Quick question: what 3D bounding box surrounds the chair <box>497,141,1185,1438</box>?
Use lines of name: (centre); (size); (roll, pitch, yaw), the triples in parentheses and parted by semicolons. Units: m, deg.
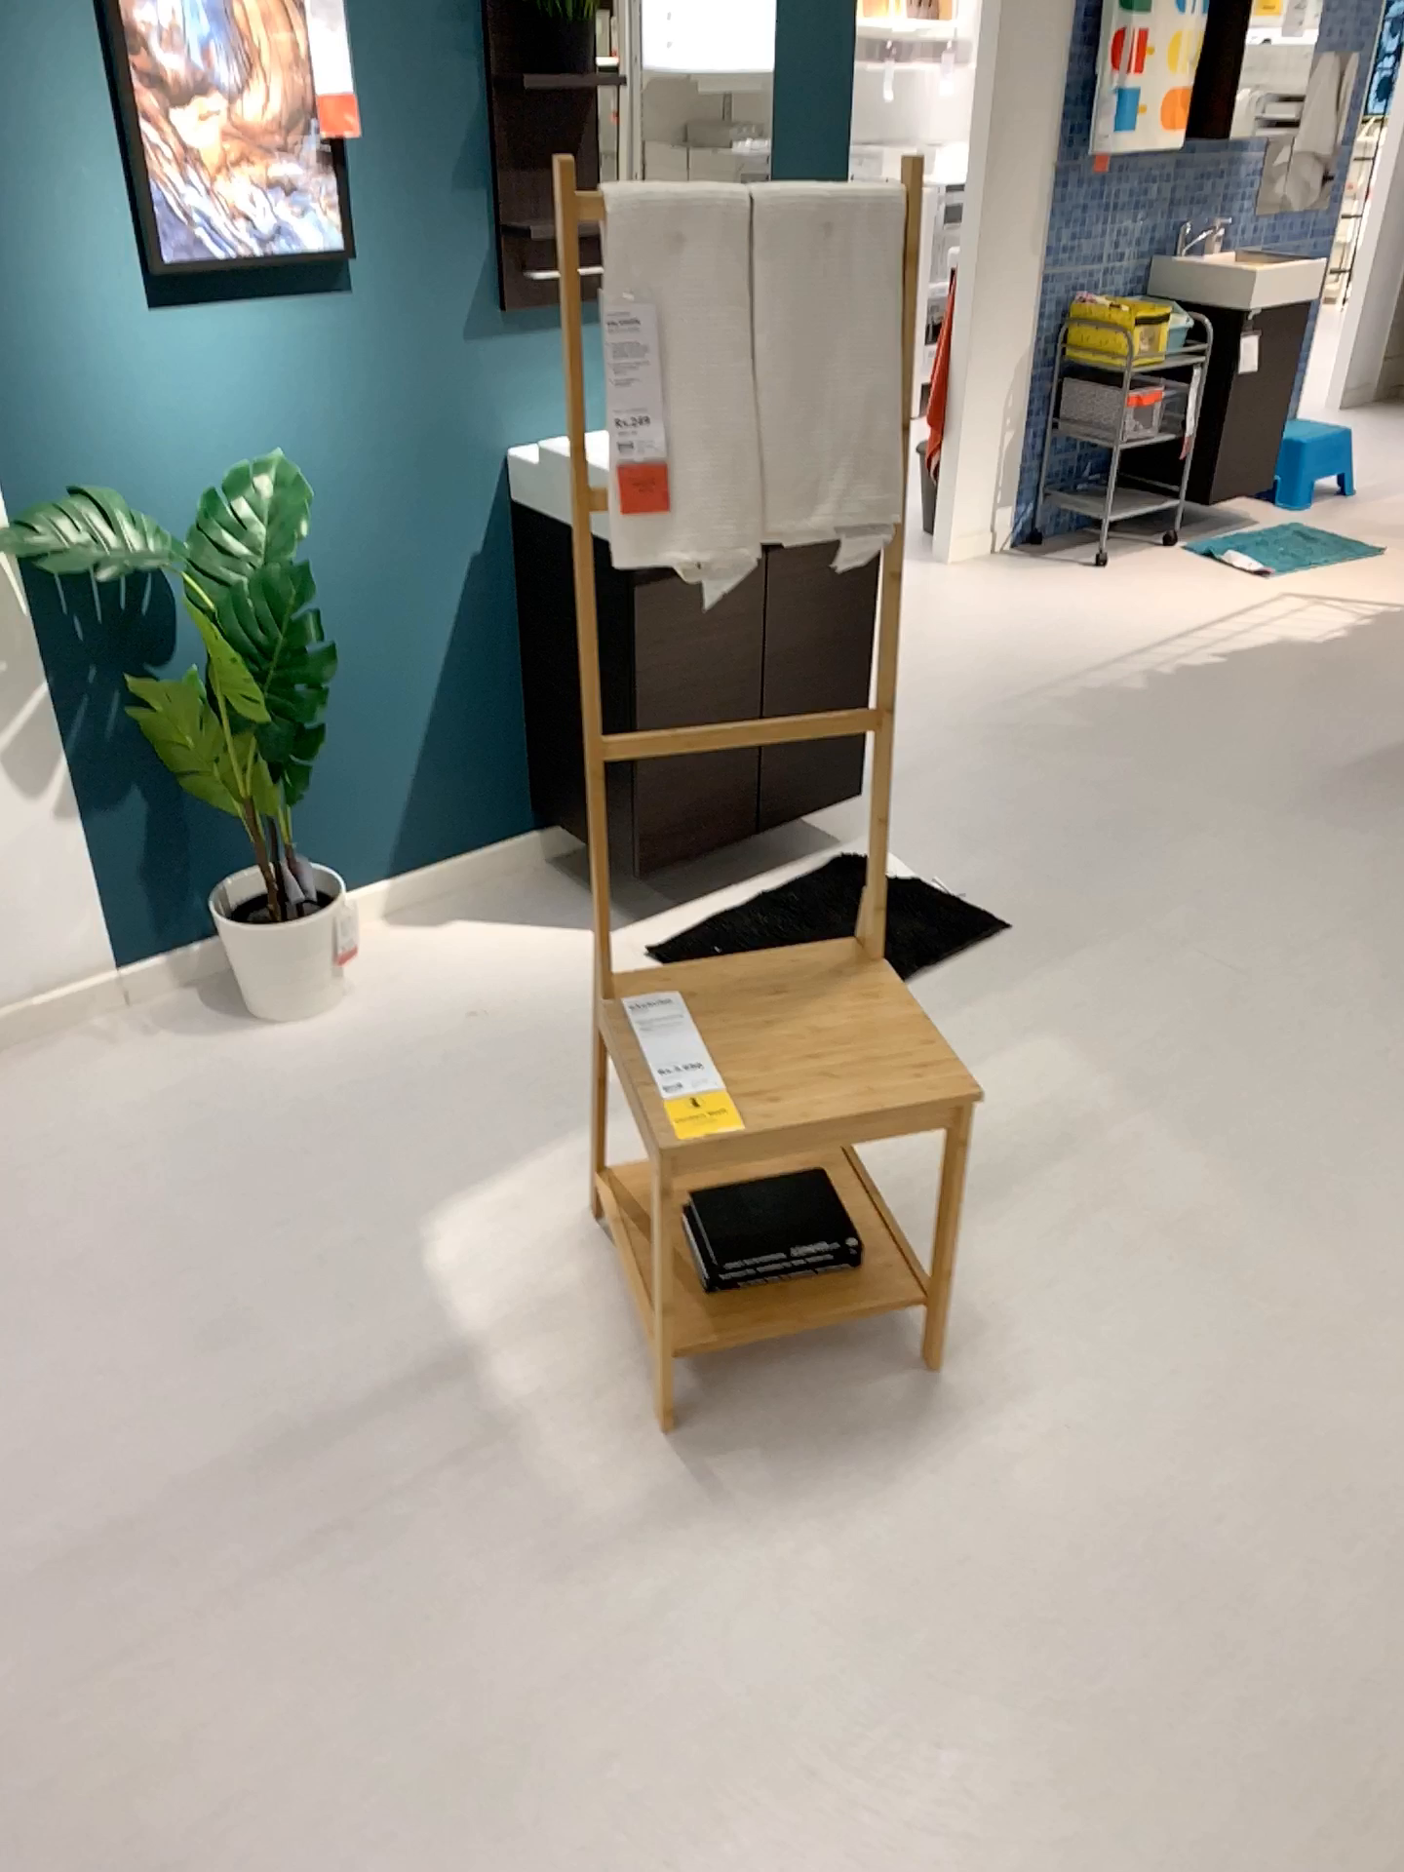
chair: (0.083, -0.120, 1.559); (0.460, 1.294, 0.472); (-8, 32, -13)
